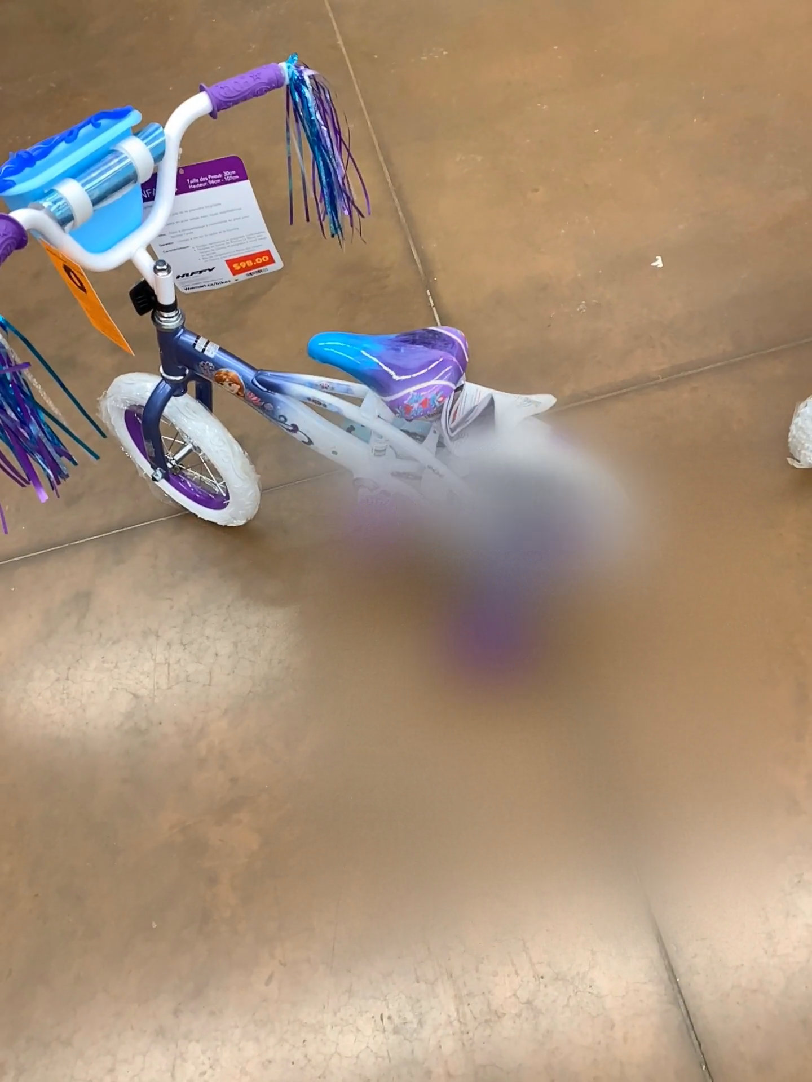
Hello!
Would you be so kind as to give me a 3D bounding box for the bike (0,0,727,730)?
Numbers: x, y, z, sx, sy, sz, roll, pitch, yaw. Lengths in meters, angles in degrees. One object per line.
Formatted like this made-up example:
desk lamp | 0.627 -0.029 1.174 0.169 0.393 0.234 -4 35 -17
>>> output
bike | -0.125 -0.193 0.995 0.805 0.634 0.440 13 61 15
